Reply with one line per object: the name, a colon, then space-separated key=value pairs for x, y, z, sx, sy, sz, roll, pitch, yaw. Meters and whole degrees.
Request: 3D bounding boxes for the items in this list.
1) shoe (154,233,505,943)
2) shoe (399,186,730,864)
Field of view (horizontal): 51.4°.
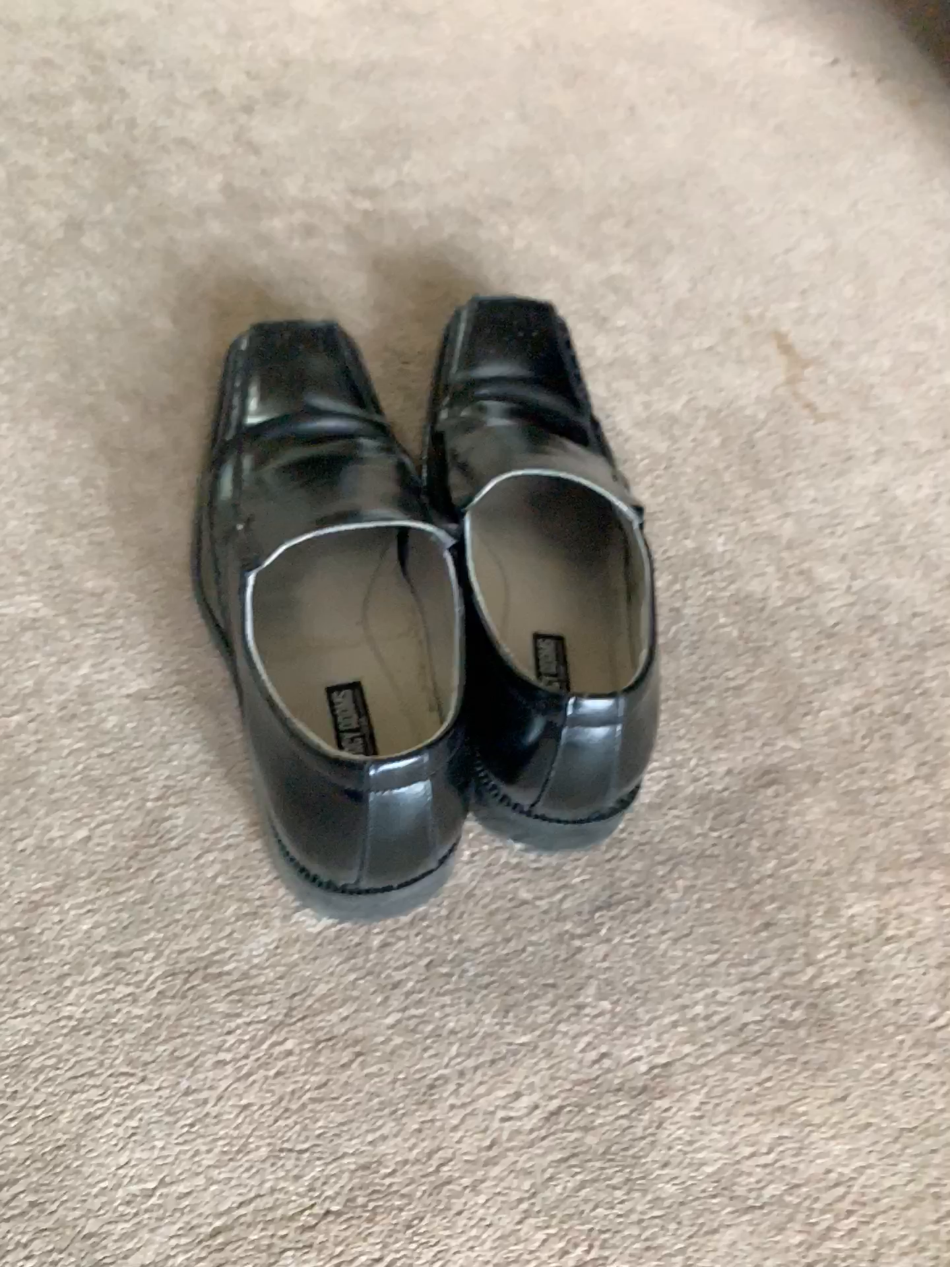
shoe: x=-0.081 y=-0.037 z=0.460 sx=0.110 sy=0.119 sz=0.312 roll=-5 pitch=58 yaw=-13
shoe: x=0.025 y=-0.064 z=0.485 sx=0.110 sy=0.119 sz=0.322 roll=3 pitch=57 yaw=-7
